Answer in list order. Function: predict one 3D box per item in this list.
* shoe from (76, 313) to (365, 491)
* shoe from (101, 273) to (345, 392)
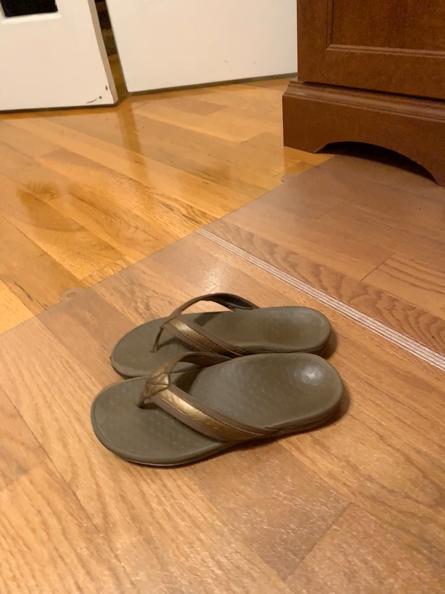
[{"bbox_3d":[-0.004,0.095,0.437,0.246,0.061,0.100,-12,39,-4],"label":"shoe"},{"bbox_3d":[0.000,0.038,0.514,0.250,0.049,0.092,-8,38,1],"label":"shoe"}]
